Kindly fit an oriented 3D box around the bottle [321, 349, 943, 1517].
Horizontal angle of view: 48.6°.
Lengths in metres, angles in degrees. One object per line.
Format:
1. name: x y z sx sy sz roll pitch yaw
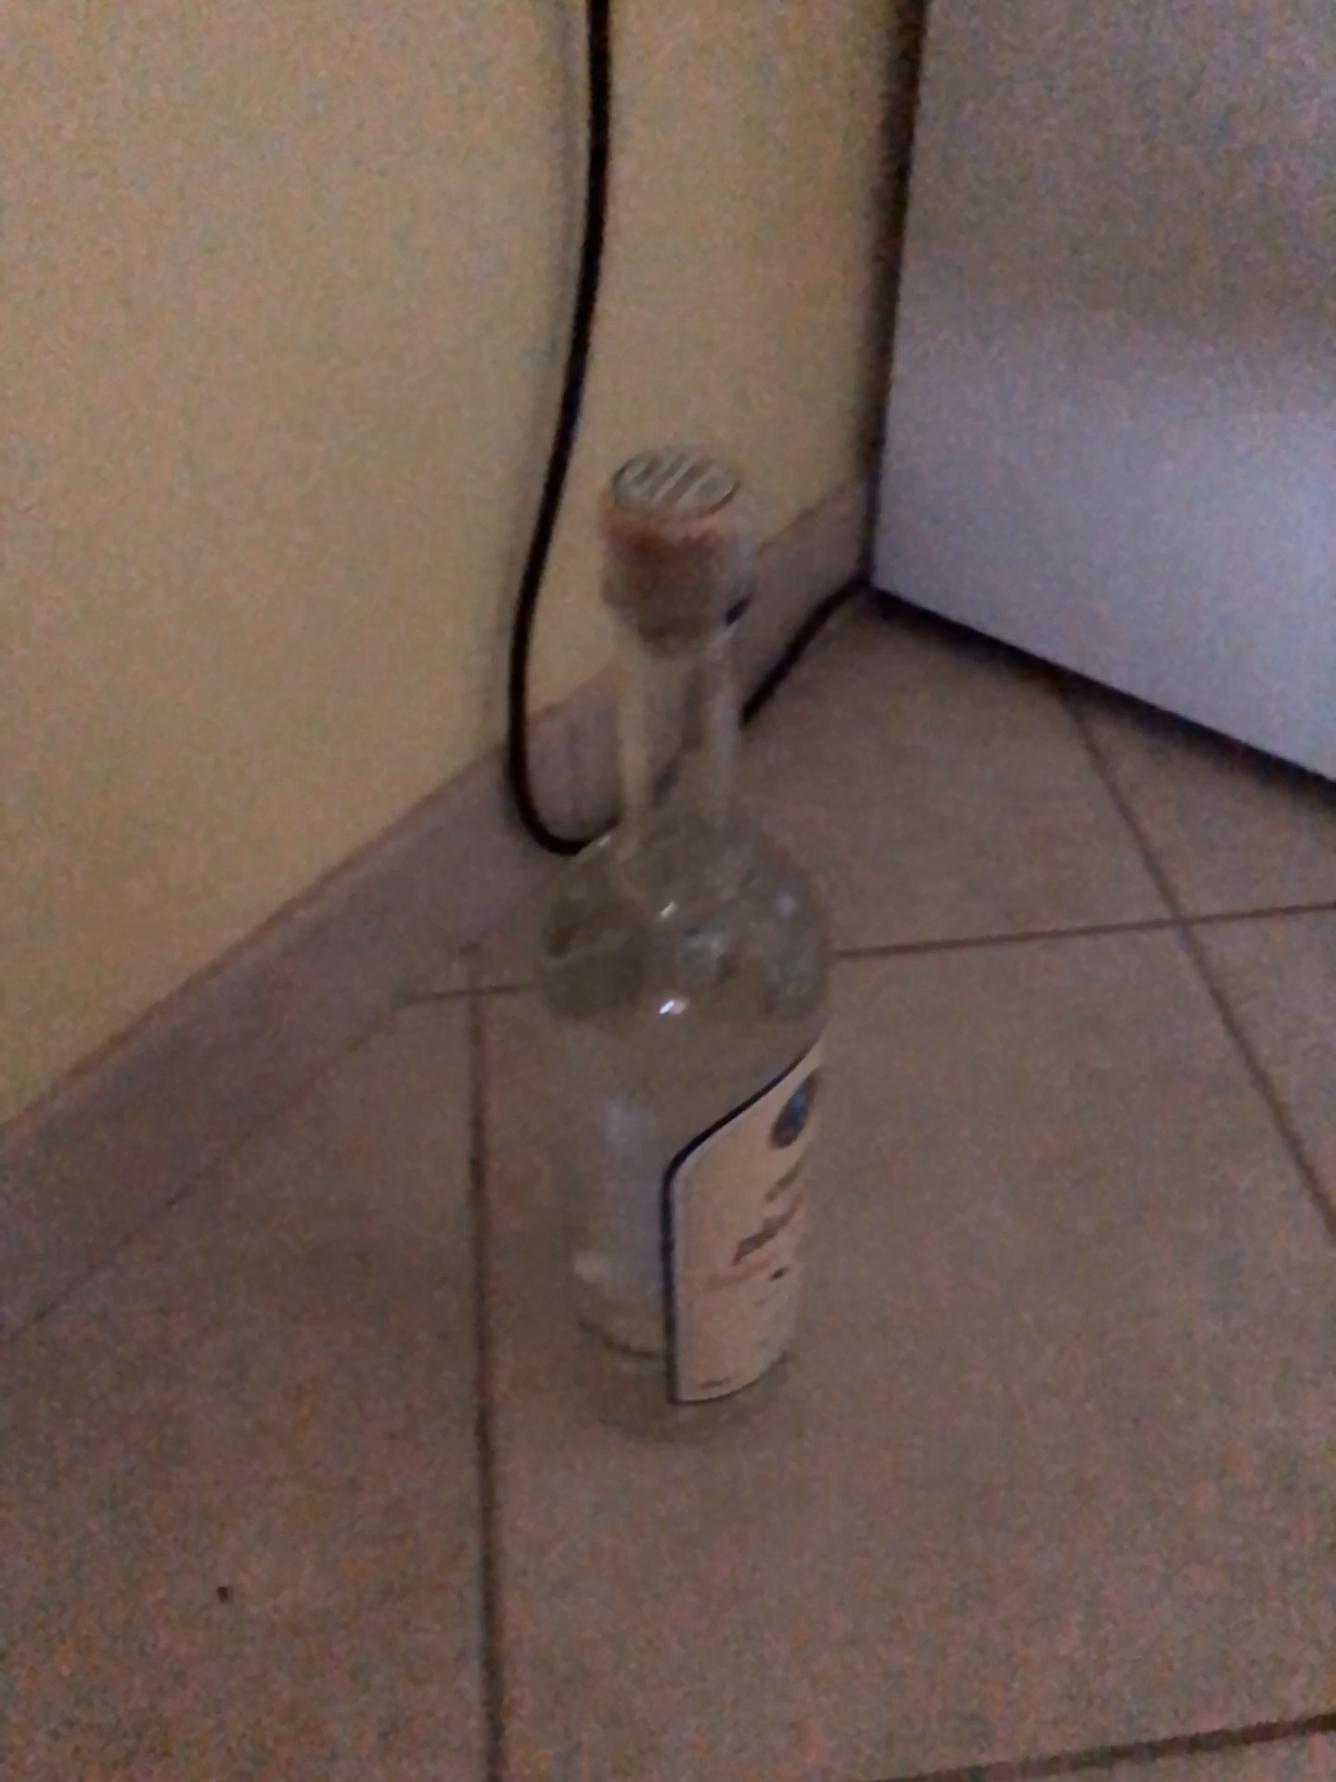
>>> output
1. bottle: -0.003 0.040 0.378 0.080 0.318 0.081 0 45 0
